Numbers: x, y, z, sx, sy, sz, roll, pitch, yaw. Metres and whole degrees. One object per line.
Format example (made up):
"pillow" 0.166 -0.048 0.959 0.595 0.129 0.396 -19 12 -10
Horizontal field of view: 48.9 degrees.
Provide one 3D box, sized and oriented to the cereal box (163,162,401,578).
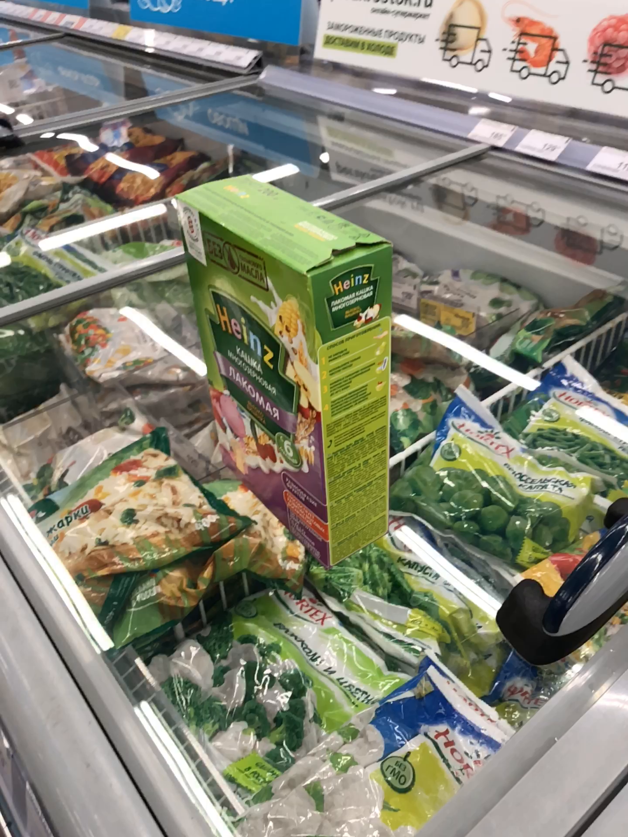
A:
"cereal box" -0.017 -0.028 0.405 0.050 0.199 0.141 -25 42 -26
